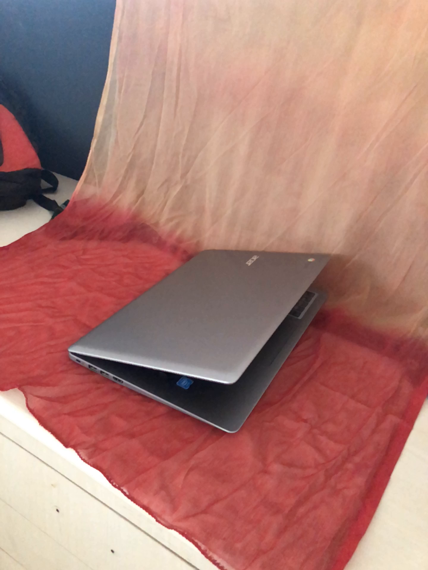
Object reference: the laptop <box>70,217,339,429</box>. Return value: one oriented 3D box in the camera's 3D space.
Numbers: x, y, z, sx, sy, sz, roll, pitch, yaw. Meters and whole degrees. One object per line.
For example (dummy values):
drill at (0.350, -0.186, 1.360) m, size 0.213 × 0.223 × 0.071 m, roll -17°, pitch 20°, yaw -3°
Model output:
laptop at (0.007, 0.016, 0.625) m, size 0.219 × 0.065 × 0.323 m, roll 18°, pitch 33°, yaw 23°
